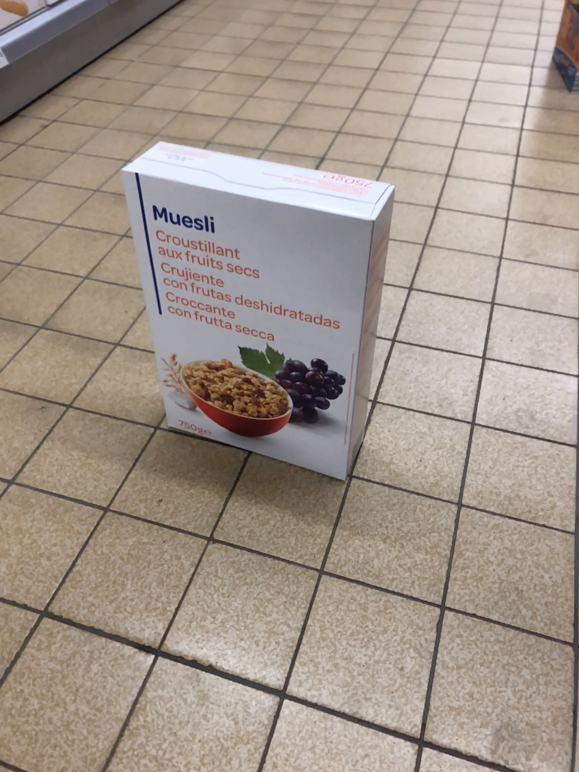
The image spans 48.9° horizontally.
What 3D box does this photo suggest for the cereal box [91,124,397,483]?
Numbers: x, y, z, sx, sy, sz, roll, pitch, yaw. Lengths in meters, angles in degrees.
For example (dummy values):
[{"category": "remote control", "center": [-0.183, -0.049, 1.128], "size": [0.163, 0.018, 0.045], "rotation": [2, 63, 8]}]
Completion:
[{"category": "cereal box", "center": [-0.032, -0.055, 0.525], "size": [0.200, 0.268, 0.060], "rotation": [15, 46, 15]}]
